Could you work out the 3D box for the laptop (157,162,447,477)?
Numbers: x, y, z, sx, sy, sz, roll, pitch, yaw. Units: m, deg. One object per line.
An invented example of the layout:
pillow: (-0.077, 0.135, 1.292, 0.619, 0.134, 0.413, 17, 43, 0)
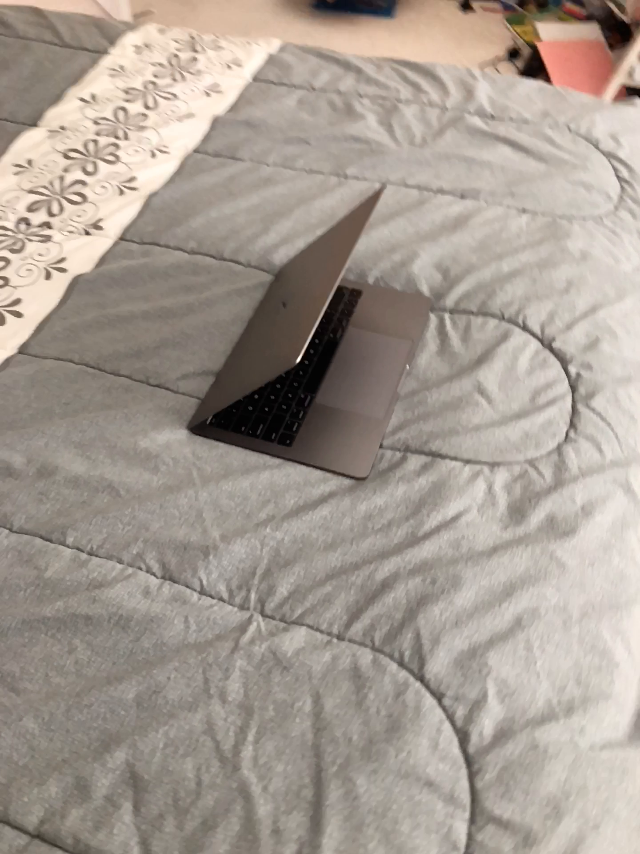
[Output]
laptop: (-0.005, -0.122, 0.735, 0.195, 0.140, 0.279, 15, 54, 12)
